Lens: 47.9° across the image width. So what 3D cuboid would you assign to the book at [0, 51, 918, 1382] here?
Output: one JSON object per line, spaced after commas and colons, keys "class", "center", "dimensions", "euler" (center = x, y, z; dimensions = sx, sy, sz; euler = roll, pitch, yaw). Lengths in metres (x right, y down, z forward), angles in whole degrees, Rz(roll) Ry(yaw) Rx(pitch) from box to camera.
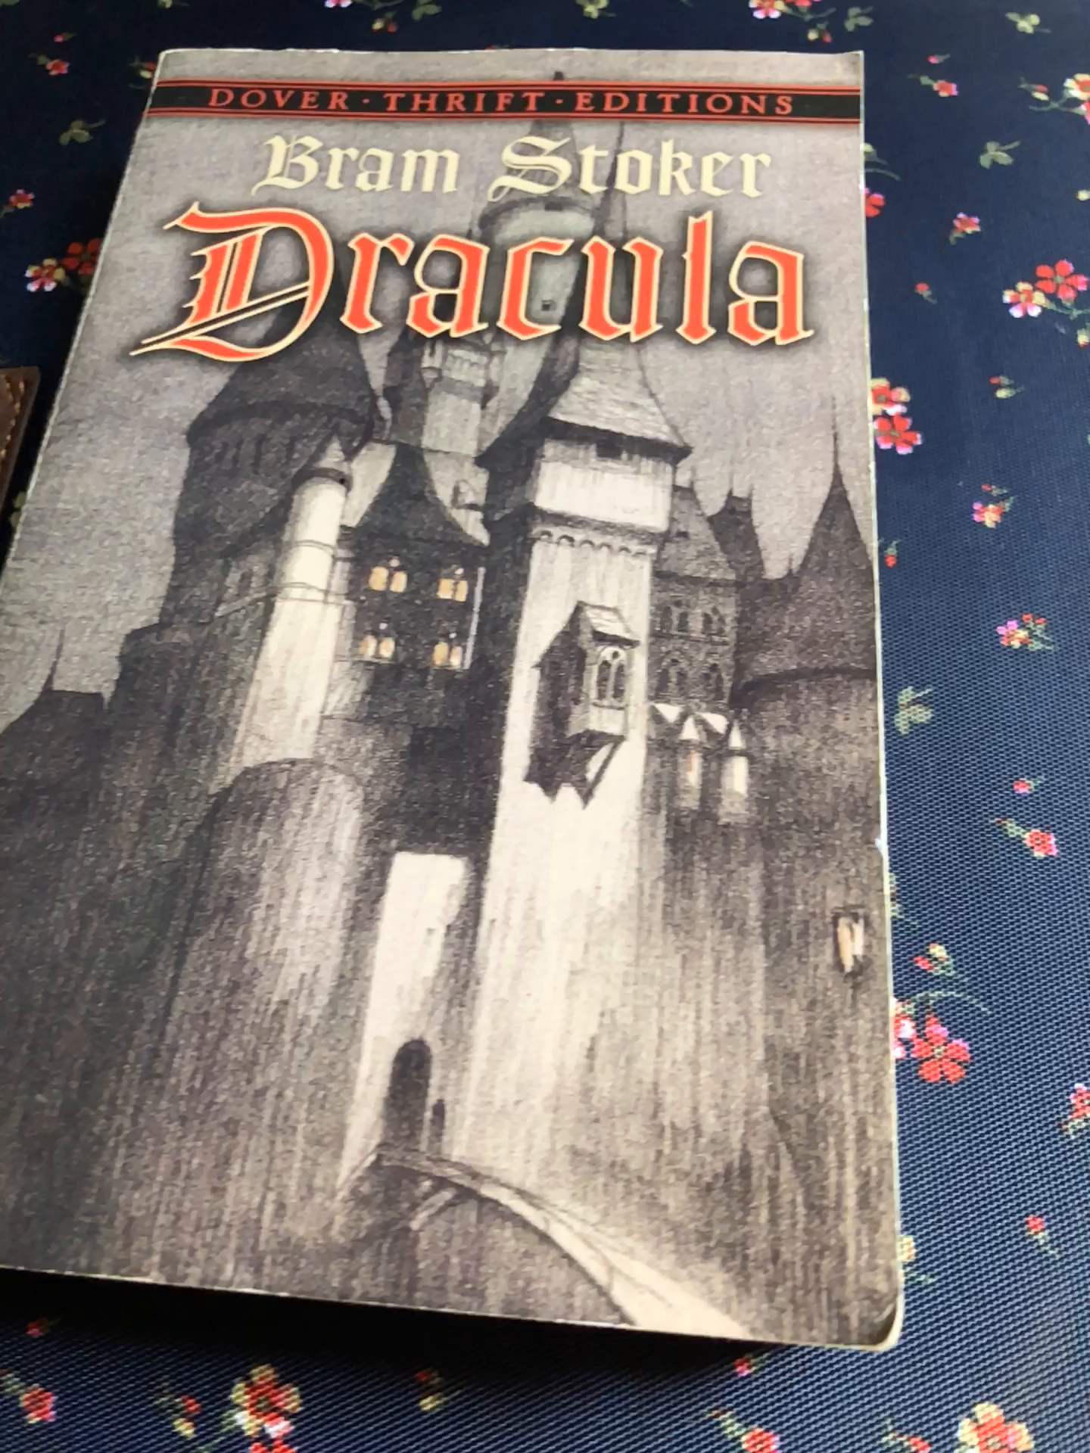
{"class": "book", "center": [-0.017, -0.020, 0.190], "dimensions": [0.130, 0.033, 0.203], "euler": [3, 66, 4]}
